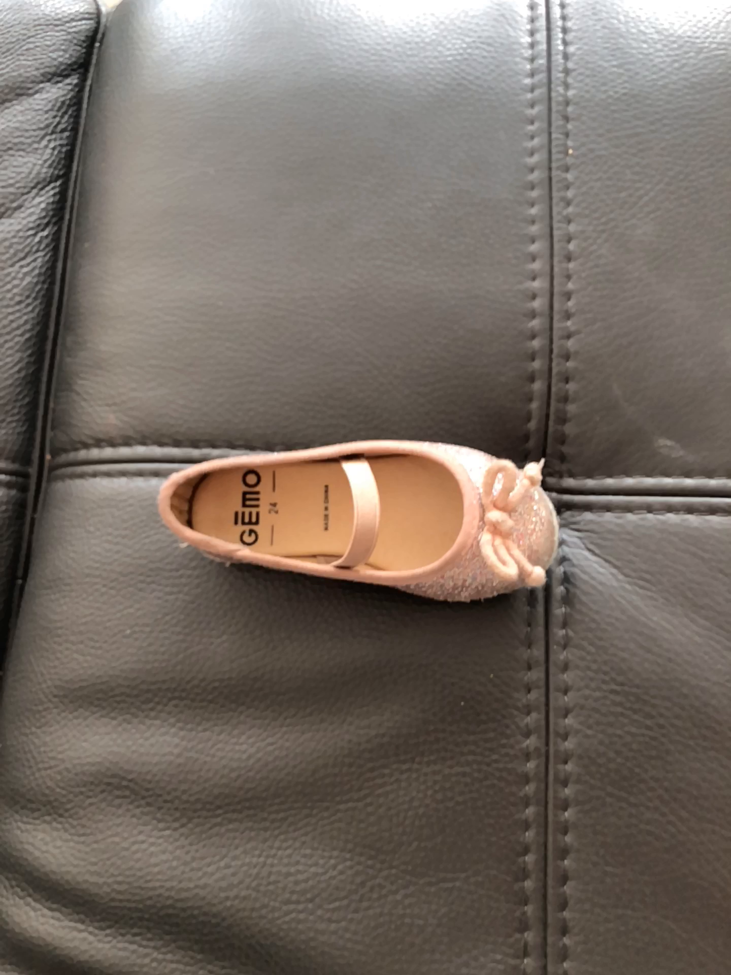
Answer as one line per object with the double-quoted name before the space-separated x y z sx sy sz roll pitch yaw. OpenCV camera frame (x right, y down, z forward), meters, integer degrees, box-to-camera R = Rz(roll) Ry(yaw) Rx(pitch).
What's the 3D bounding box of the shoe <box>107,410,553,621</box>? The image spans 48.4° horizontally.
"shoe" -0.011 0.011 0.316 0.160 0.040 0.070 2 77 6
